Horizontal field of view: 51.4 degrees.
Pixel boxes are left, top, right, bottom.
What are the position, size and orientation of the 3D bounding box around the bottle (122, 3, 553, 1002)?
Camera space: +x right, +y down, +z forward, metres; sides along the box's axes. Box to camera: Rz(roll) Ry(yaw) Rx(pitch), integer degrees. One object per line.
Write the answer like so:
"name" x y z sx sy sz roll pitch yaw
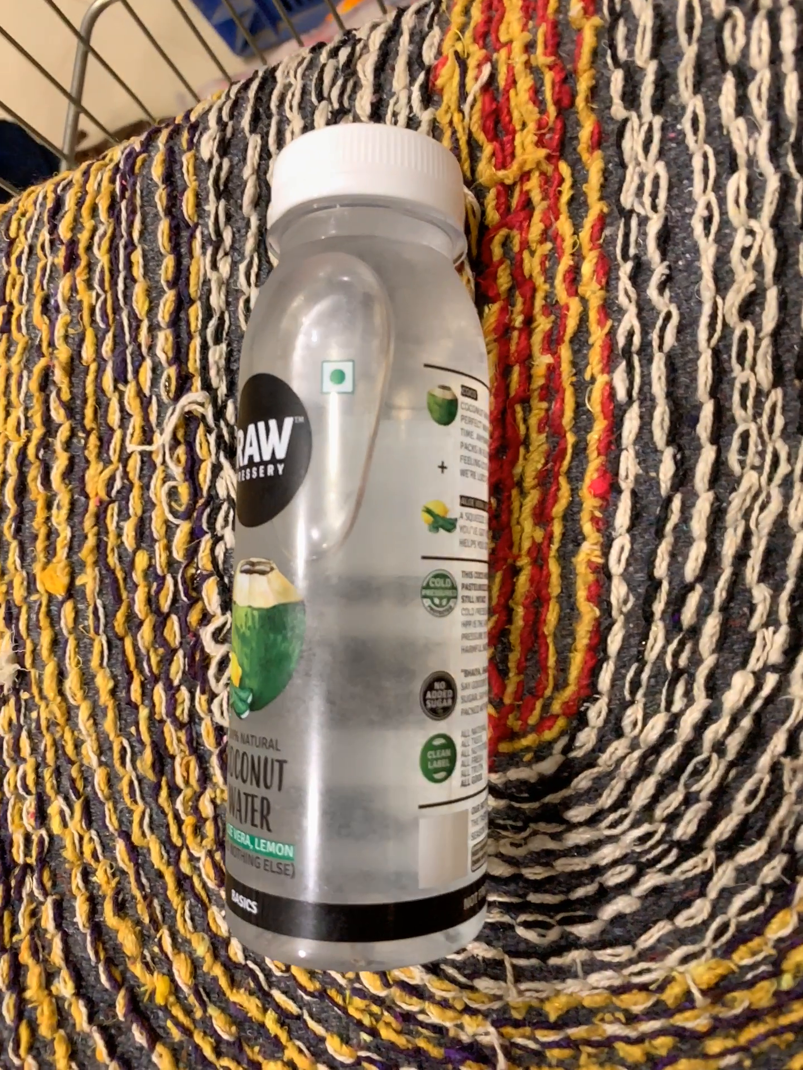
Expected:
"bottle" -0.011 -0.006 0.163 0.060 0.050 0.150 -4 82 44
